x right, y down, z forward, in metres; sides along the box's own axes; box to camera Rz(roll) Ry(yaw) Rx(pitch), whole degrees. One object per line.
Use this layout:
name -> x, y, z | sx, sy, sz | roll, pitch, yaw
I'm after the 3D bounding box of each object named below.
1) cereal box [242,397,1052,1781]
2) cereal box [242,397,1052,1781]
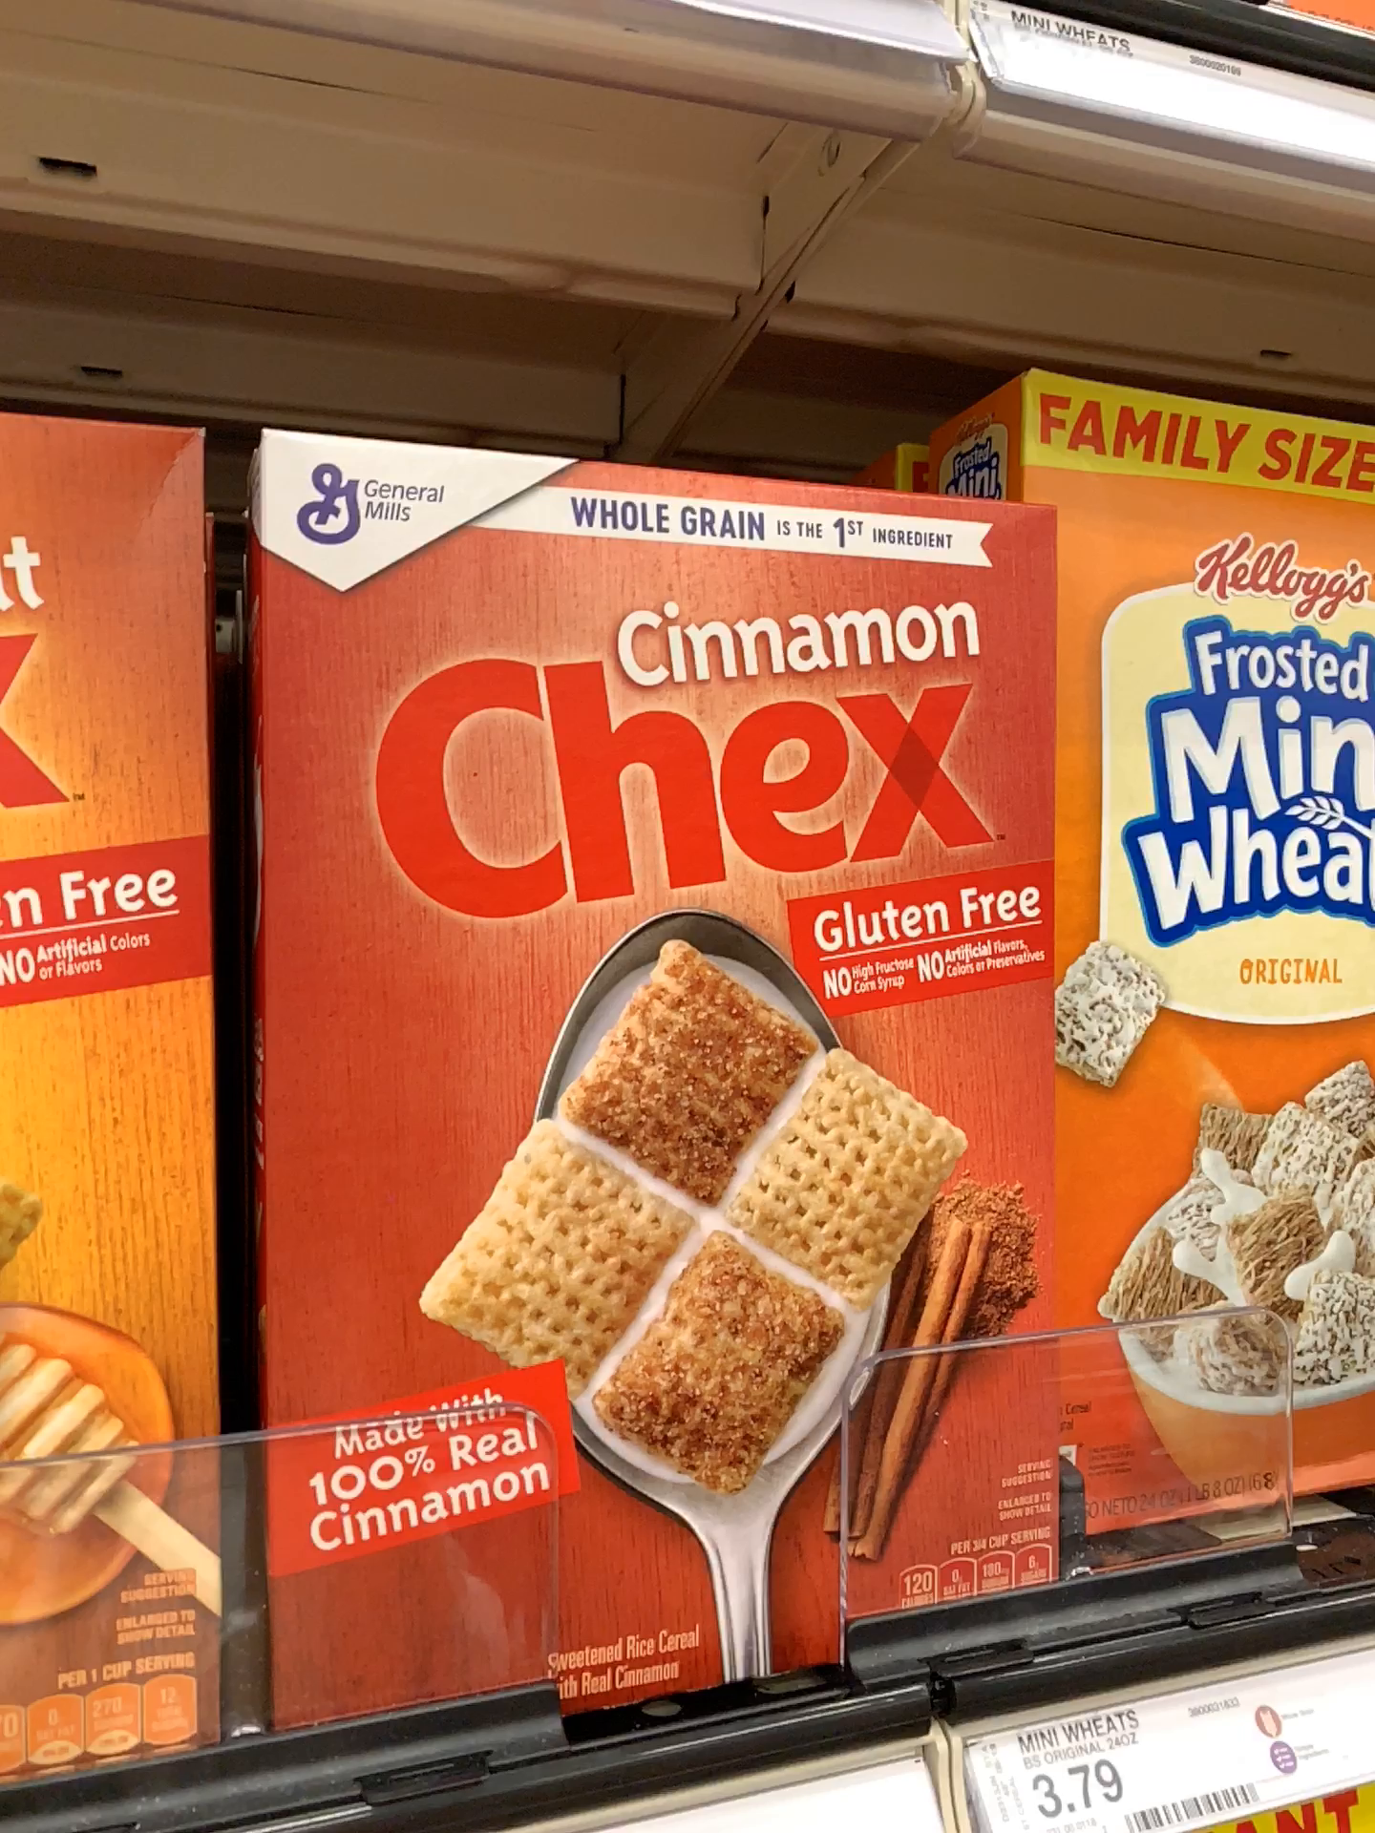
cereal box -> -0.009, 0.036, 0.368 | 0.200, 0.300, 0.060 | 0, 0, -19
cereal box -> -0.009, 0.036, 0.368 | 0.200, 0.300, 0.060 | 0, 0, -19
